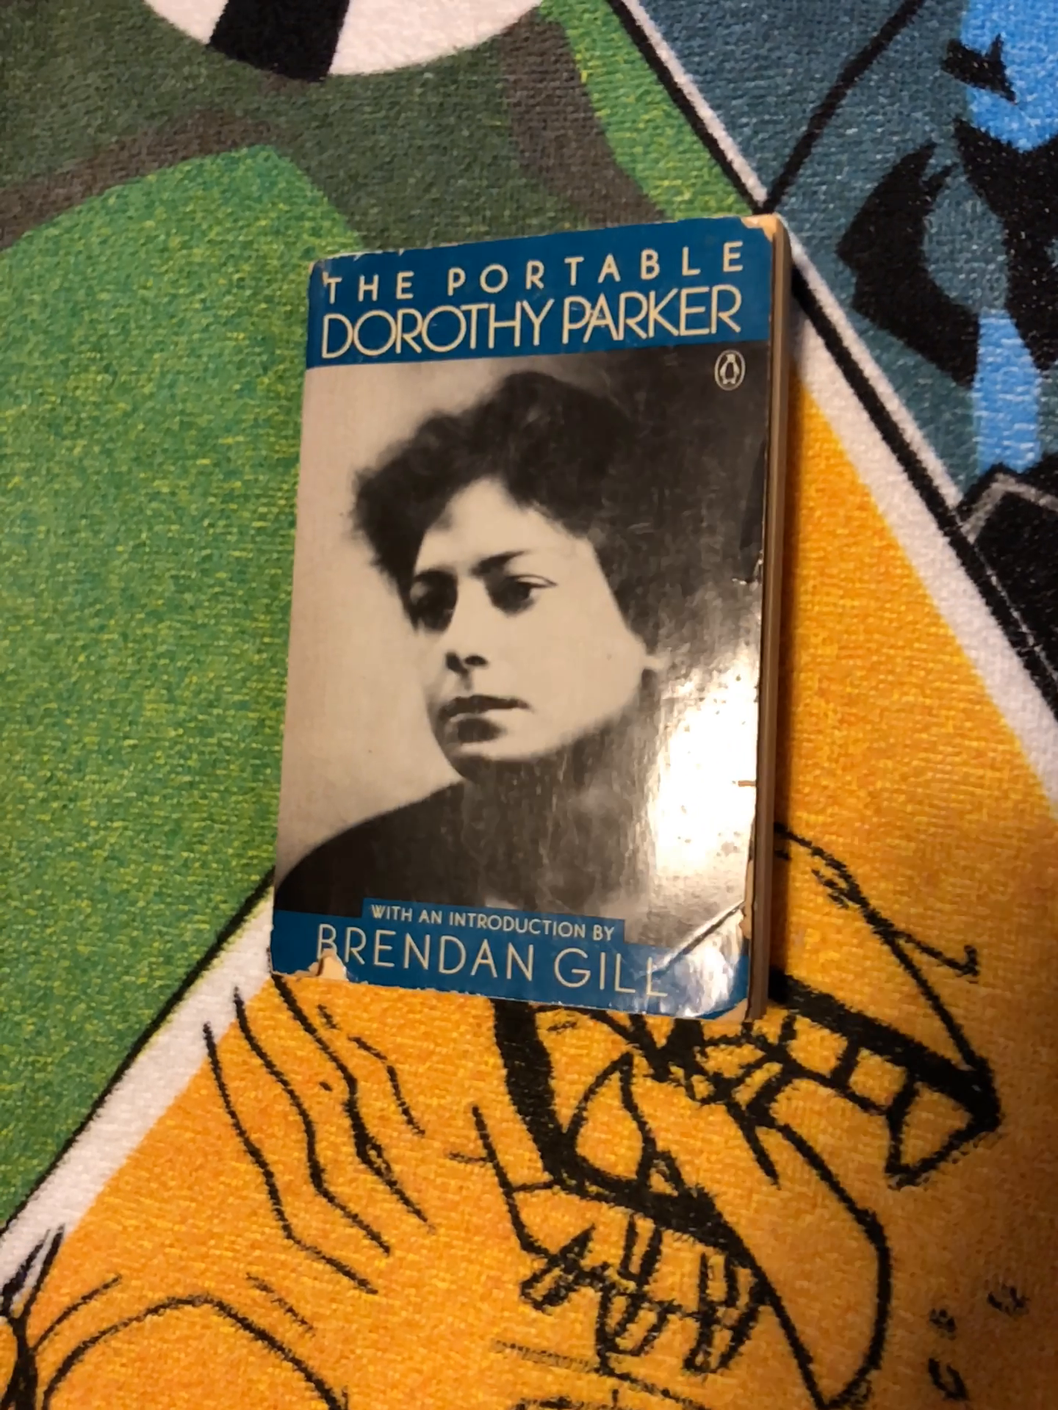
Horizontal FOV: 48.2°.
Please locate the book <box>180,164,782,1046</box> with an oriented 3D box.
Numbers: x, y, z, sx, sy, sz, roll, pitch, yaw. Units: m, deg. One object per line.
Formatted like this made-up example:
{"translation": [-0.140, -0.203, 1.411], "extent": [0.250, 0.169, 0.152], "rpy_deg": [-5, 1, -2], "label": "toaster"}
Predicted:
{"translation": [-0.010, -0.025, 0.303], "extent": [0.140, 0.040, 0.200], "rpy_deg": [1, 86, 15], "label": "book"}
